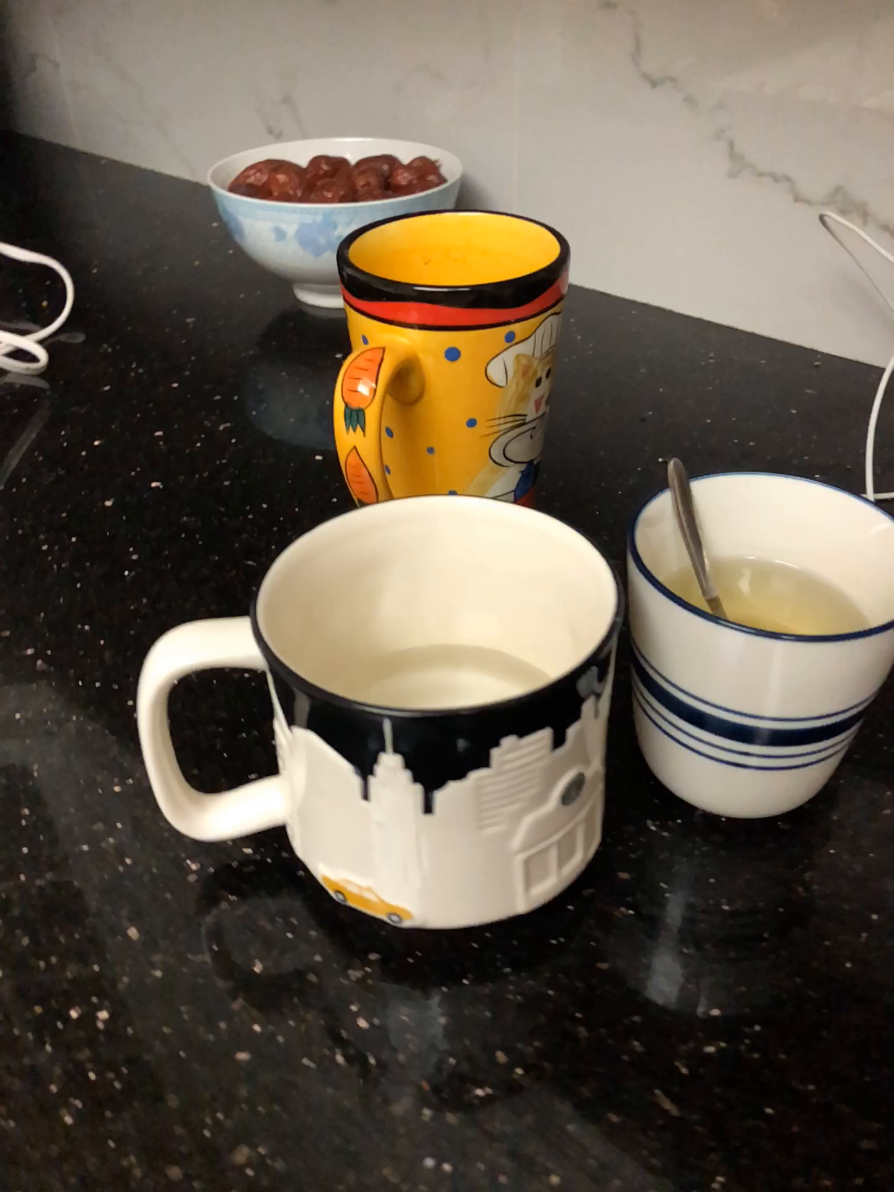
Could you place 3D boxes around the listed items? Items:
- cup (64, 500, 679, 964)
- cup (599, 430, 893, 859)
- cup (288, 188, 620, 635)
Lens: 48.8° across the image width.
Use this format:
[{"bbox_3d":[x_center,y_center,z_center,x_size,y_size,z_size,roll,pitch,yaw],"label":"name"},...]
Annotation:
[{"bbox_3d":[-0.021,0.036,0.309,0.150,0.070,0.121,-3,38,-3],"label":"cup"},{"bbox_3d":[0.097,0.010,0.327,0.080,0.080,0.121,2,38,4],"label":"cup"},{"bbox_3d":[0.007,-0.075,0.387,0.080,0.129,0.100,17,41,22],"label":"cup"}]
